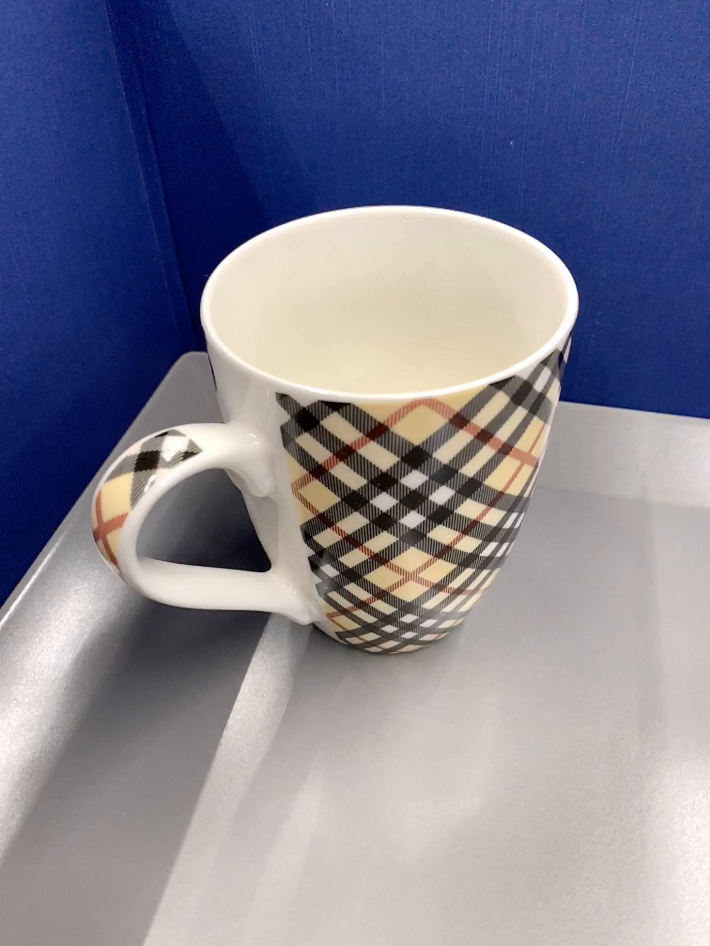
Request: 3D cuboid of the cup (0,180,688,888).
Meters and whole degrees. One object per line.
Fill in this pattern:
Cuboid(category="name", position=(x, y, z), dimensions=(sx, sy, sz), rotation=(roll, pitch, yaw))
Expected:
Cuboid(category="cup", position=(-0.004, 0.005, 0.187), dimensions=(0.121, 0.104, 0.091), rotation=(-28, 47, -27))
